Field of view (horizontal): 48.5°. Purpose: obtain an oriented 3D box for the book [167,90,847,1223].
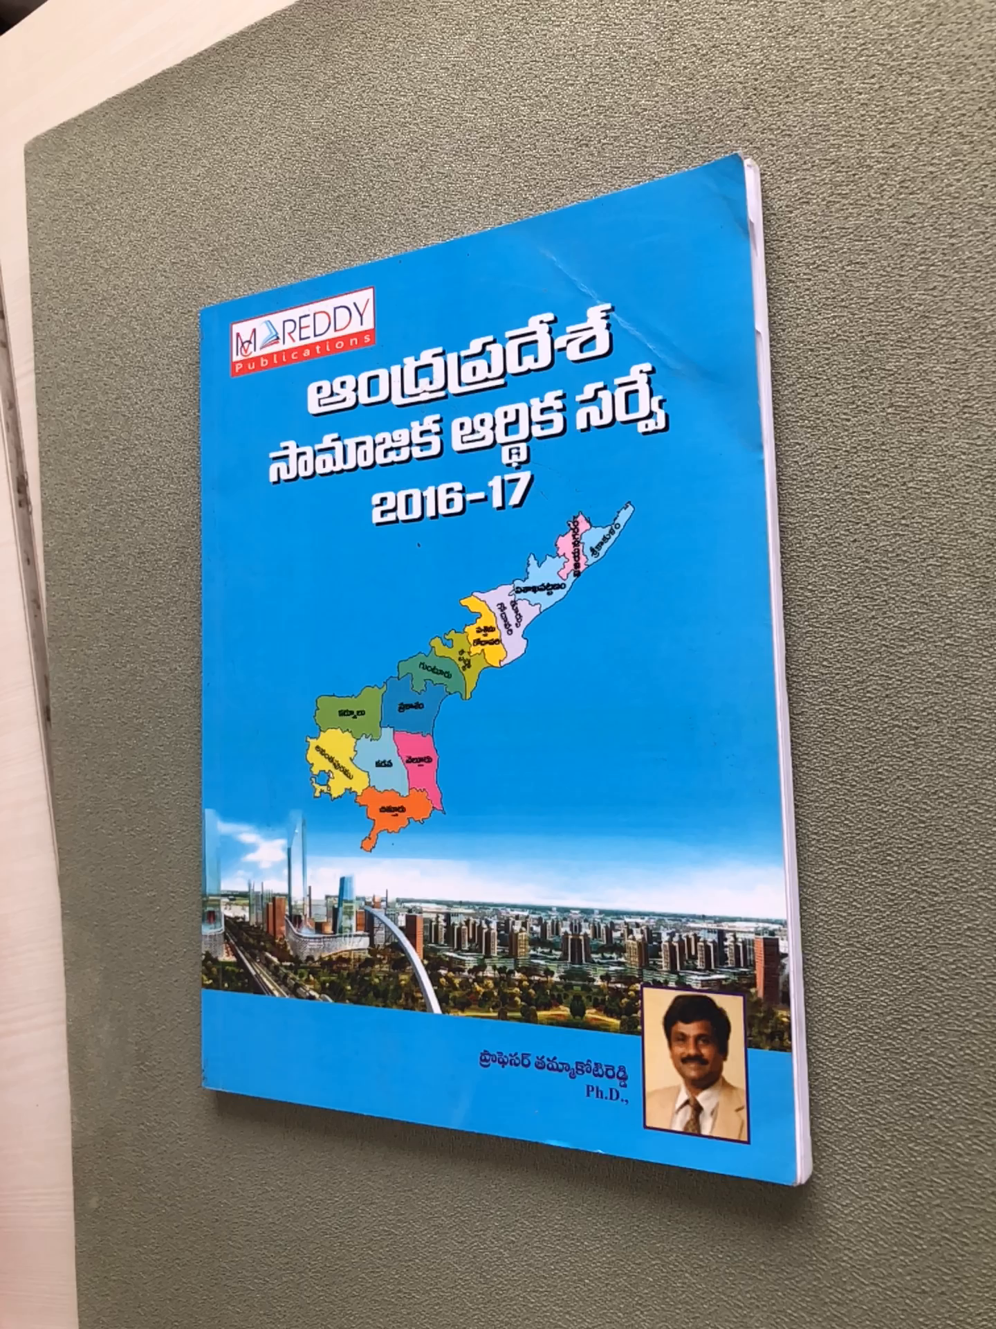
[{"bbox_3d":[-0.011,-0.001,0.285,0.180,0.020,0.240,-4,85,28],"label":"book"}]
